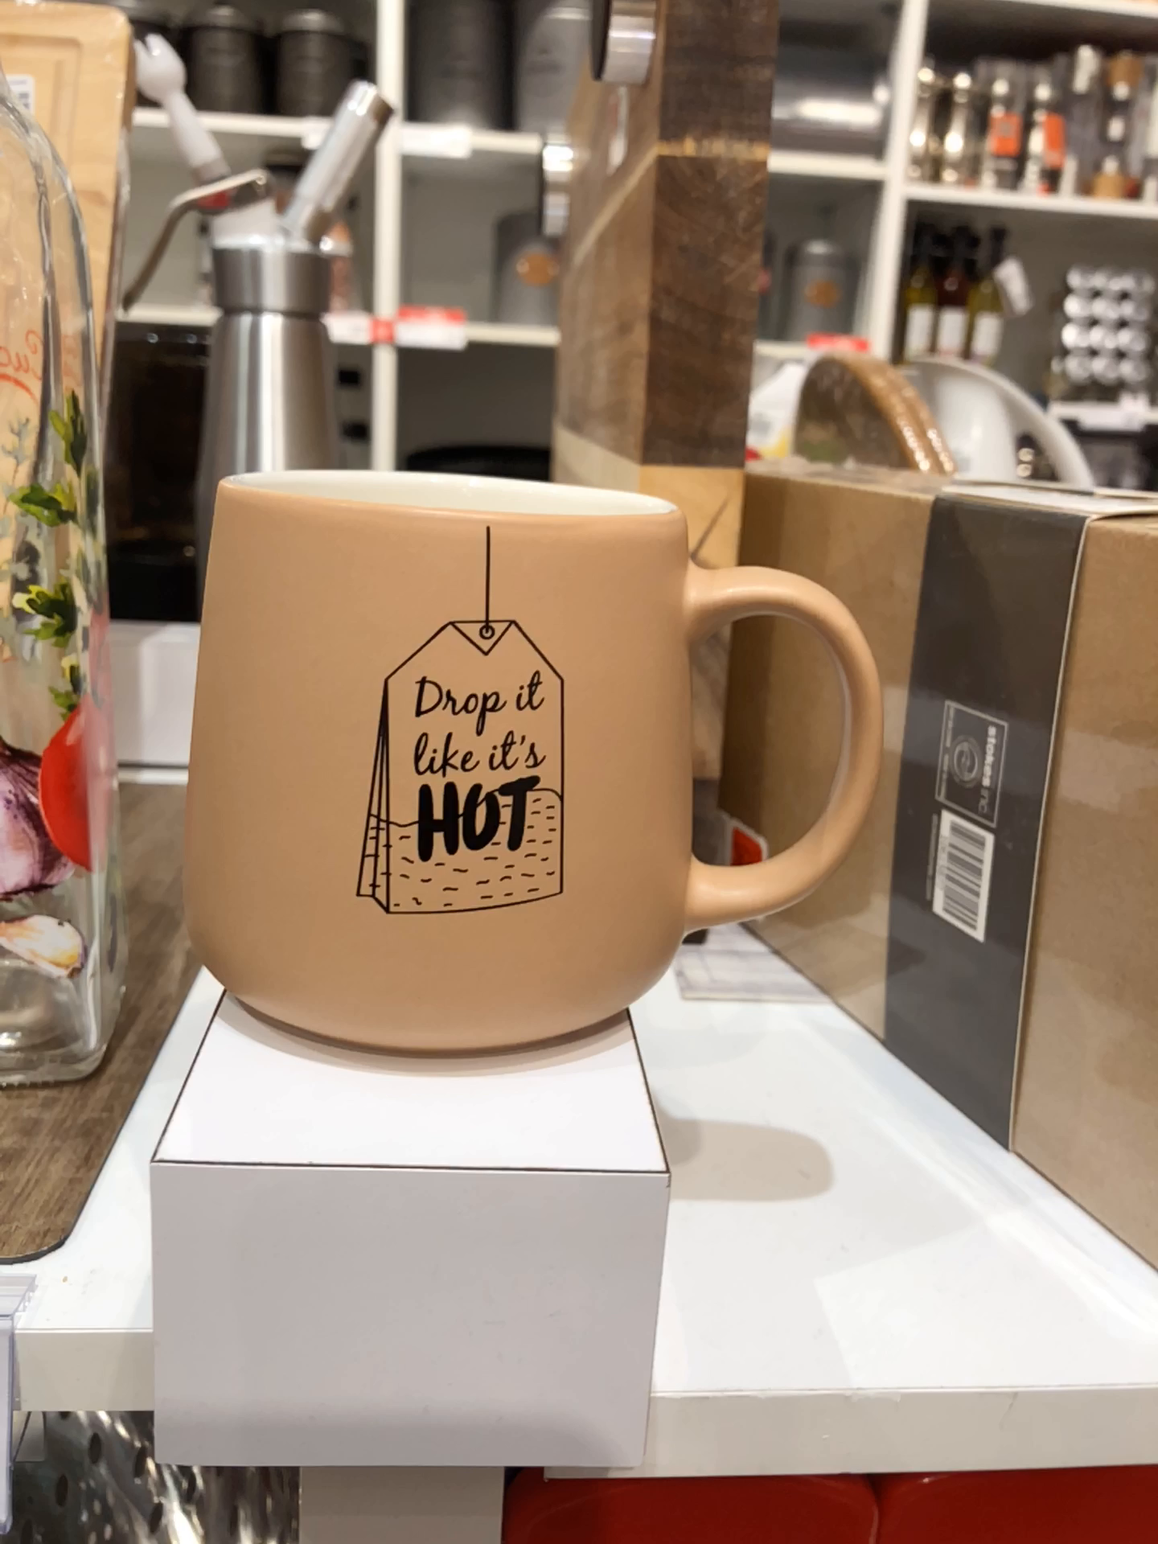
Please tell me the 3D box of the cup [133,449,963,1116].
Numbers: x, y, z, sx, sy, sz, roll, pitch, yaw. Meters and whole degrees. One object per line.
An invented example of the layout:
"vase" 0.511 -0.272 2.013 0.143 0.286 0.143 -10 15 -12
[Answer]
"cup" -0.014 -0.008 0.218 0.110 0.080 0.090 -2 16 -19
